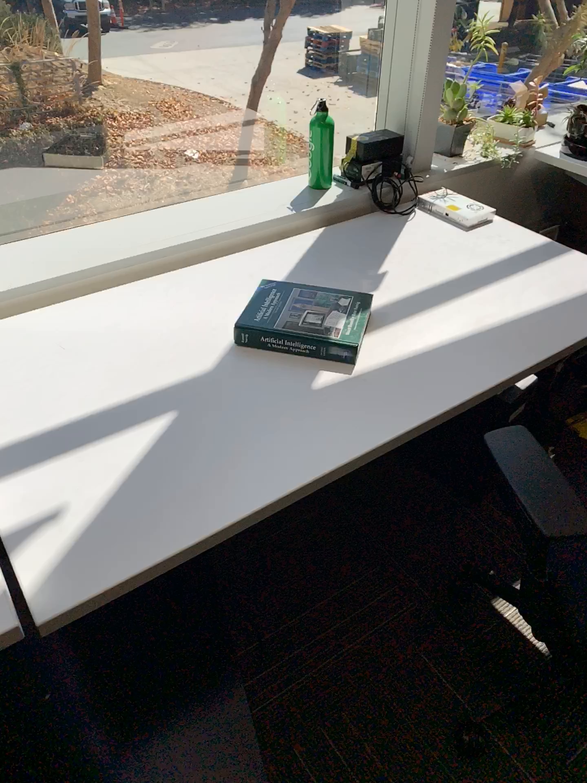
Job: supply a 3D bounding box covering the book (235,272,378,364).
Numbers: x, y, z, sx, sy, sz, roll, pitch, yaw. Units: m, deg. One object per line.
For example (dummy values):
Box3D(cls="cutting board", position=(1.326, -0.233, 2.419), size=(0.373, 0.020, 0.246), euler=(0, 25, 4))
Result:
Box3D(cls="book", position=(0.035, -0.167, 1.300), size=(0.260, 0.050, 0.231), euler=(10, 40, 11))
